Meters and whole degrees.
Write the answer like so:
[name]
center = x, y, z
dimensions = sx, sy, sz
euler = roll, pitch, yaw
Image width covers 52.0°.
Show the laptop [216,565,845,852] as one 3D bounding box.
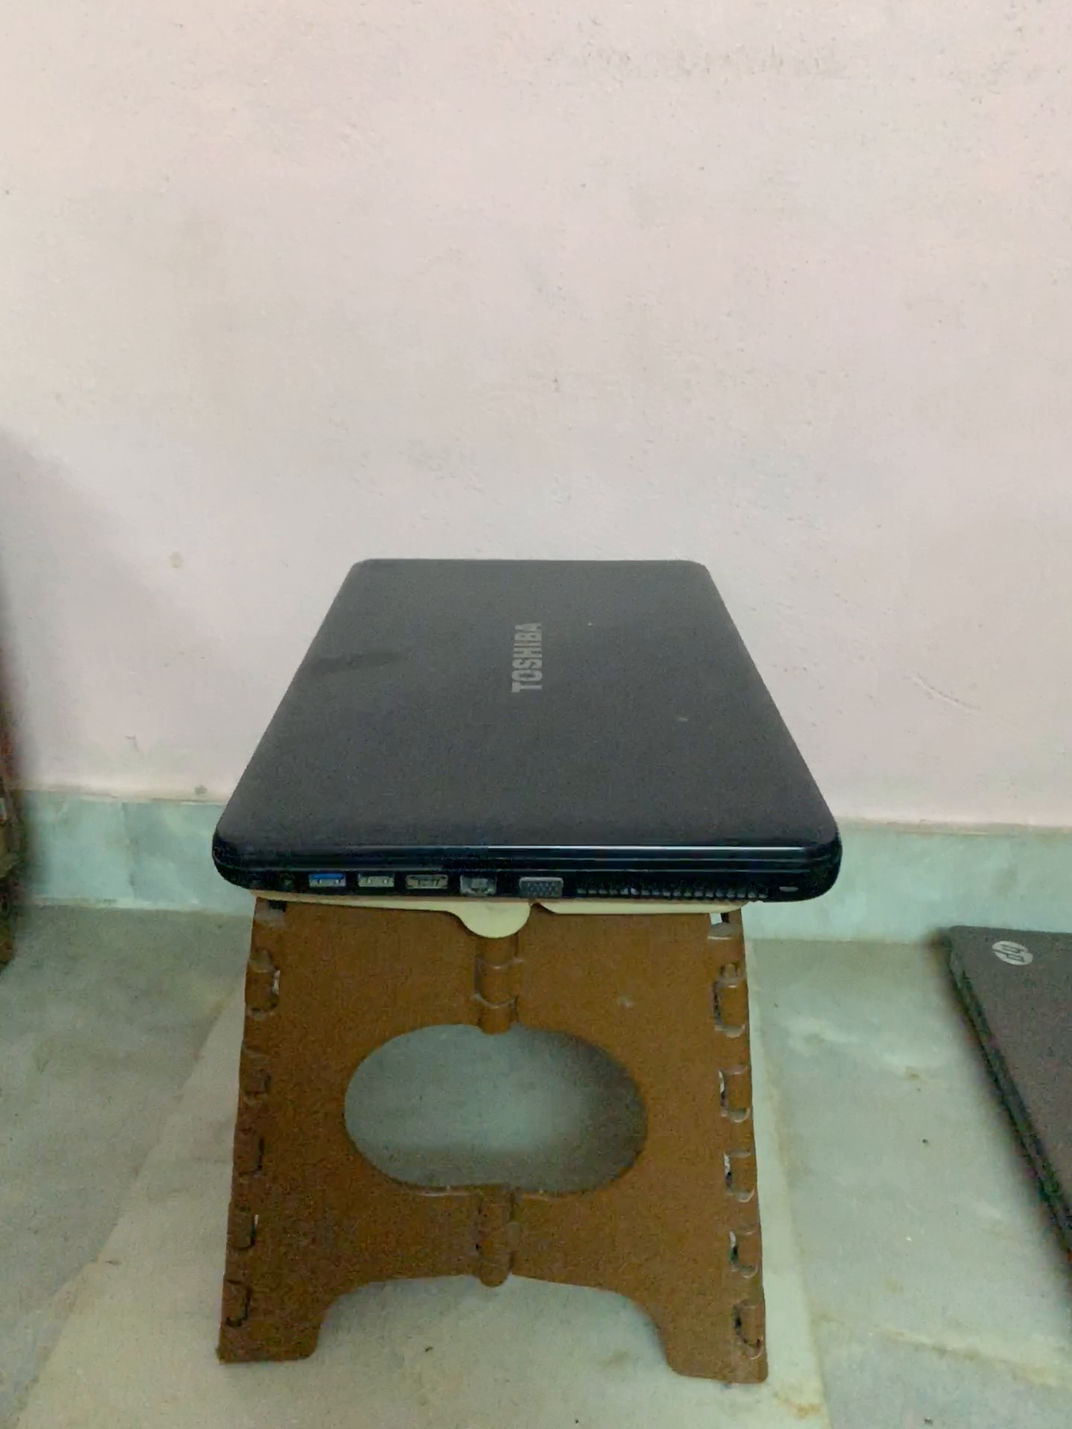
[laptop]
center = -0.003, -0.025, 0.581
dimensions = 0.236, 0.001, 0.370
euler = 1, 24, 0
